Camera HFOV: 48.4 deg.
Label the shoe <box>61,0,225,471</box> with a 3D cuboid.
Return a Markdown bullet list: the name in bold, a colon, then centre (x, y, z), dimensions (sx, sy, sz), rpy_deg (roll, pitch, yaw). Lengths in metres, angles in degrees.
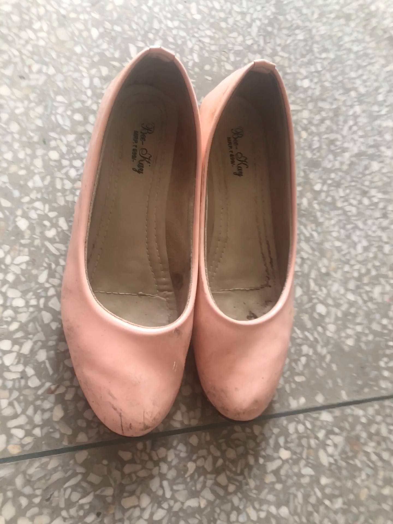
- **shoe**: centre (-0.039, -0.014, 0.288), dimensions (0.090, 0.070, 0.260), rpy_deg (1, 91, -18)

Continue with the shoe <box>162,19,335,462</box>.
- **shoe**: centre (0.029, -0.015, 0.301), dimensions (0.090, 0.070, 0.260), rpy_deg (1, 83, -18)
